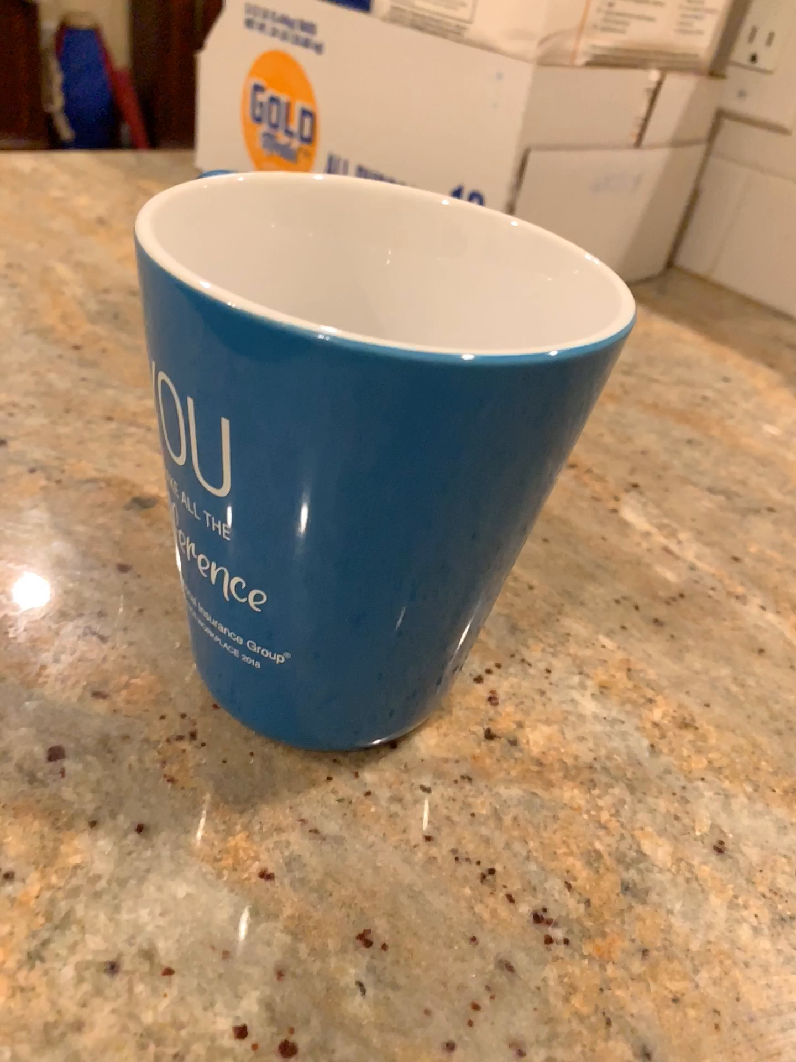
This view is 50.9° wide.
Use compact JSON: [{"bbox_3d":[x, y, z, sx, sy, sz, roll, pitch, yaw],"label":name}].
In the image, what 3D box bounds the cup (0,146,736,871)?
[{"bbox_3d":[-0.021,-0.024,0.202,0.099,0.098,0.138,-23,45,-39],"label":"cup"}]
